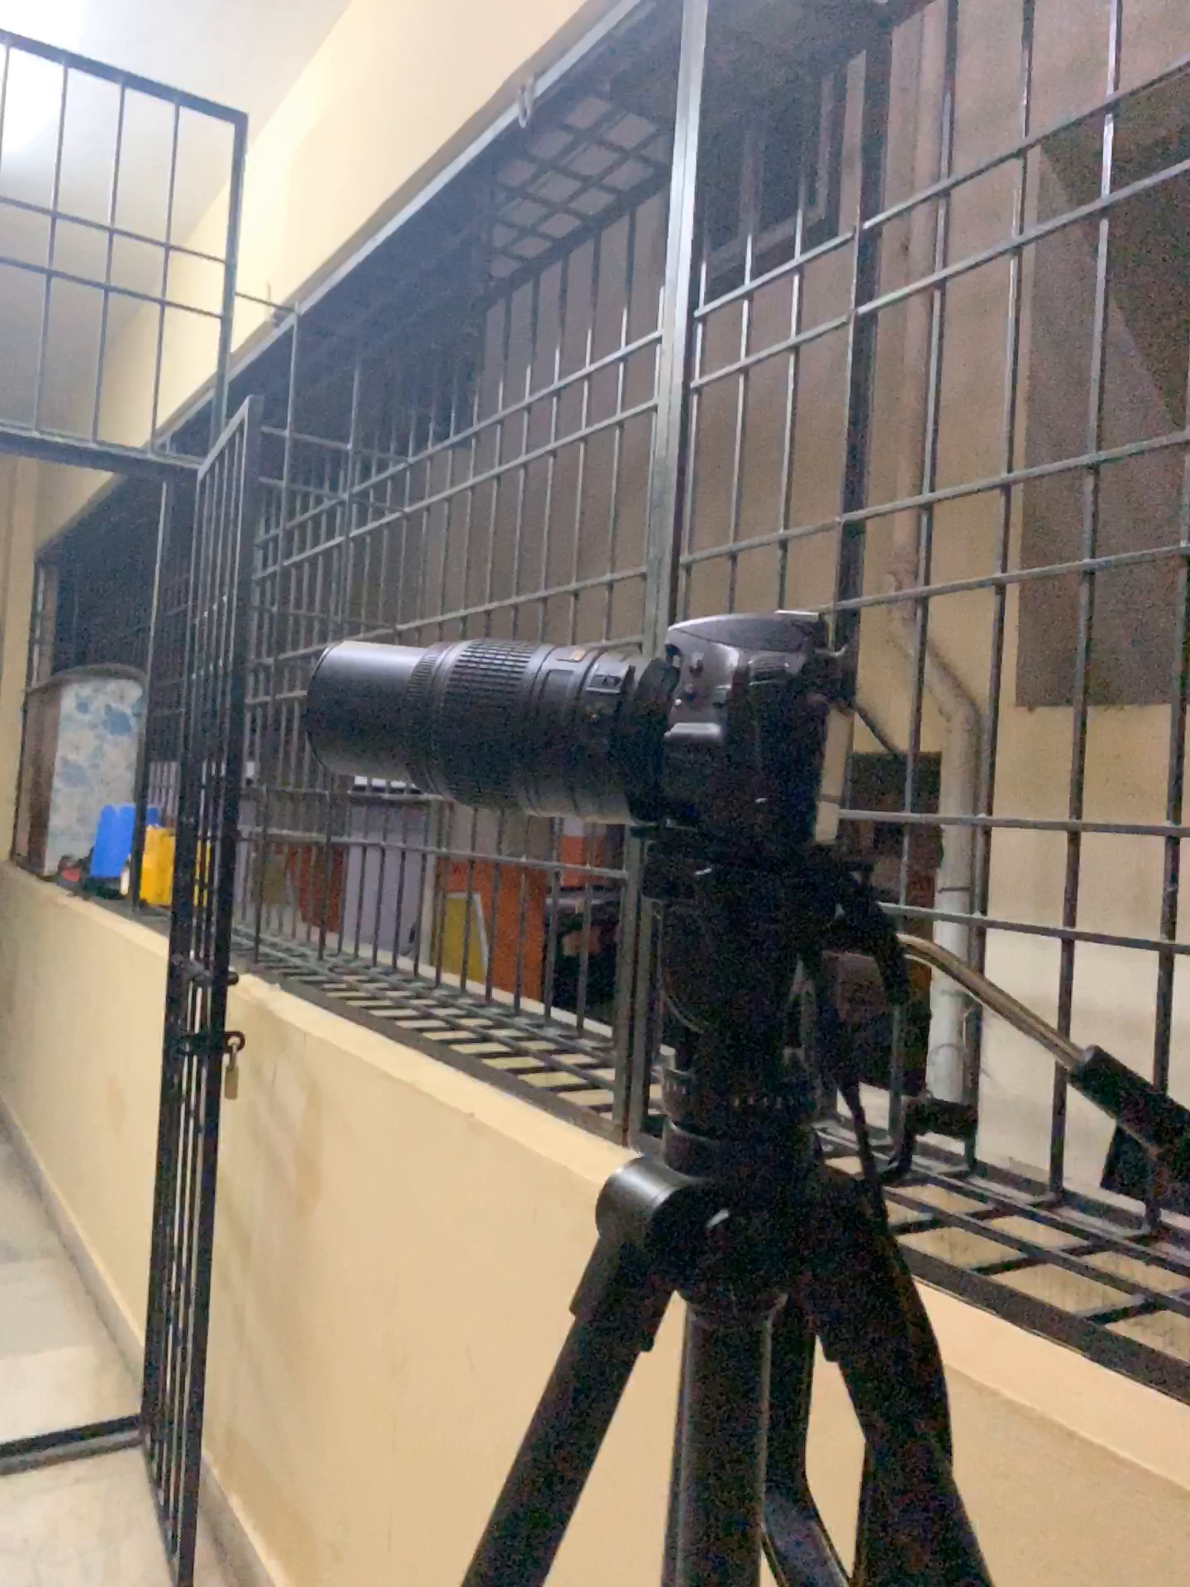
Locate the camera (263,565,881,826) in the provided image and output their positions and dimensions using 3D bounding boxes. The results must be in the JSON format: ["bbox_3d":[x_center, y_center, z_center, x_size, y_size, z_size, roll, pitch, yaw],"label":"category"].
[{"bbox_3d":[-0.004,-0.039,0.515,0.230,0.090,0.120,3,-1,18],"label":"camera"}]
